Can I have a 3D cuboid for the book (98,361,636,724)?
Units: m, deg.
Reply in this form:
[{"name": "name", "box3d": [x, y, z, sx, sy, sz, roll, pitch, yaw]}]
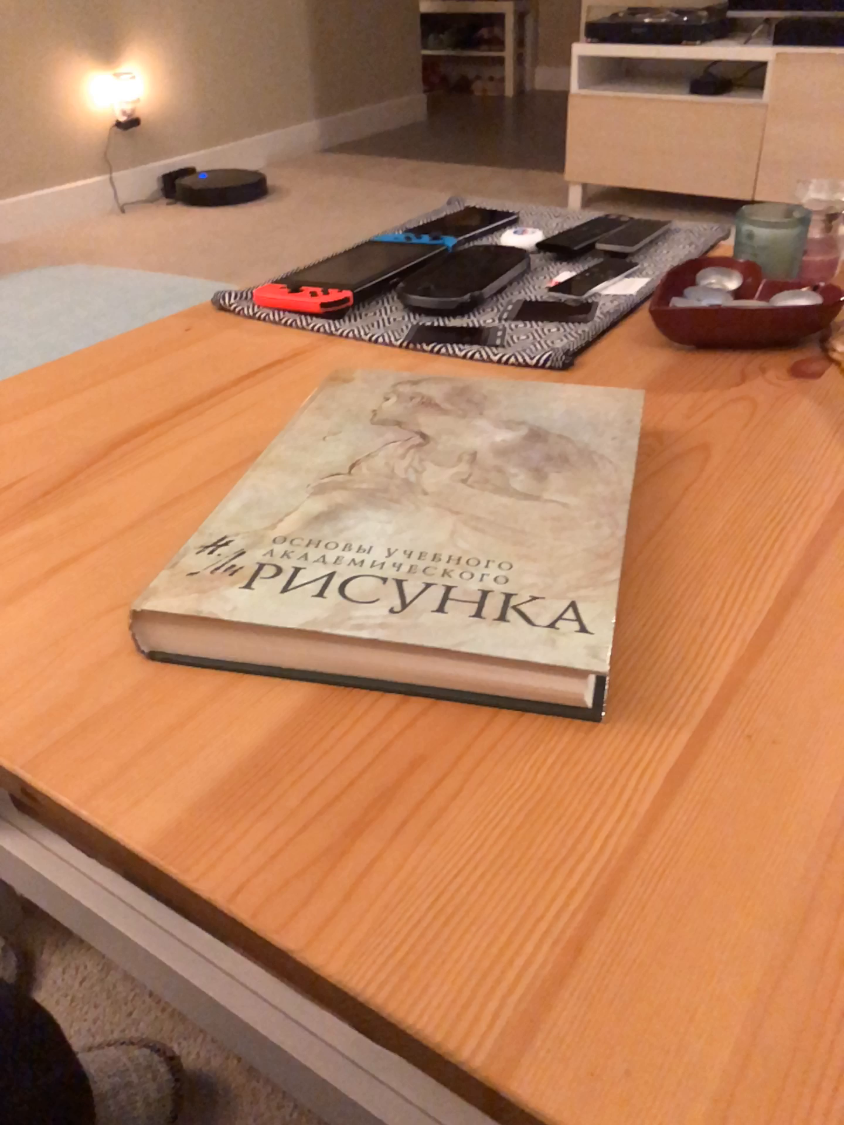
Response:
[{"name": "book", "box3d": [-0.003, -0.035, 0.496, 0.214, 0.030, 0.273, 7, 35, 12]}]
